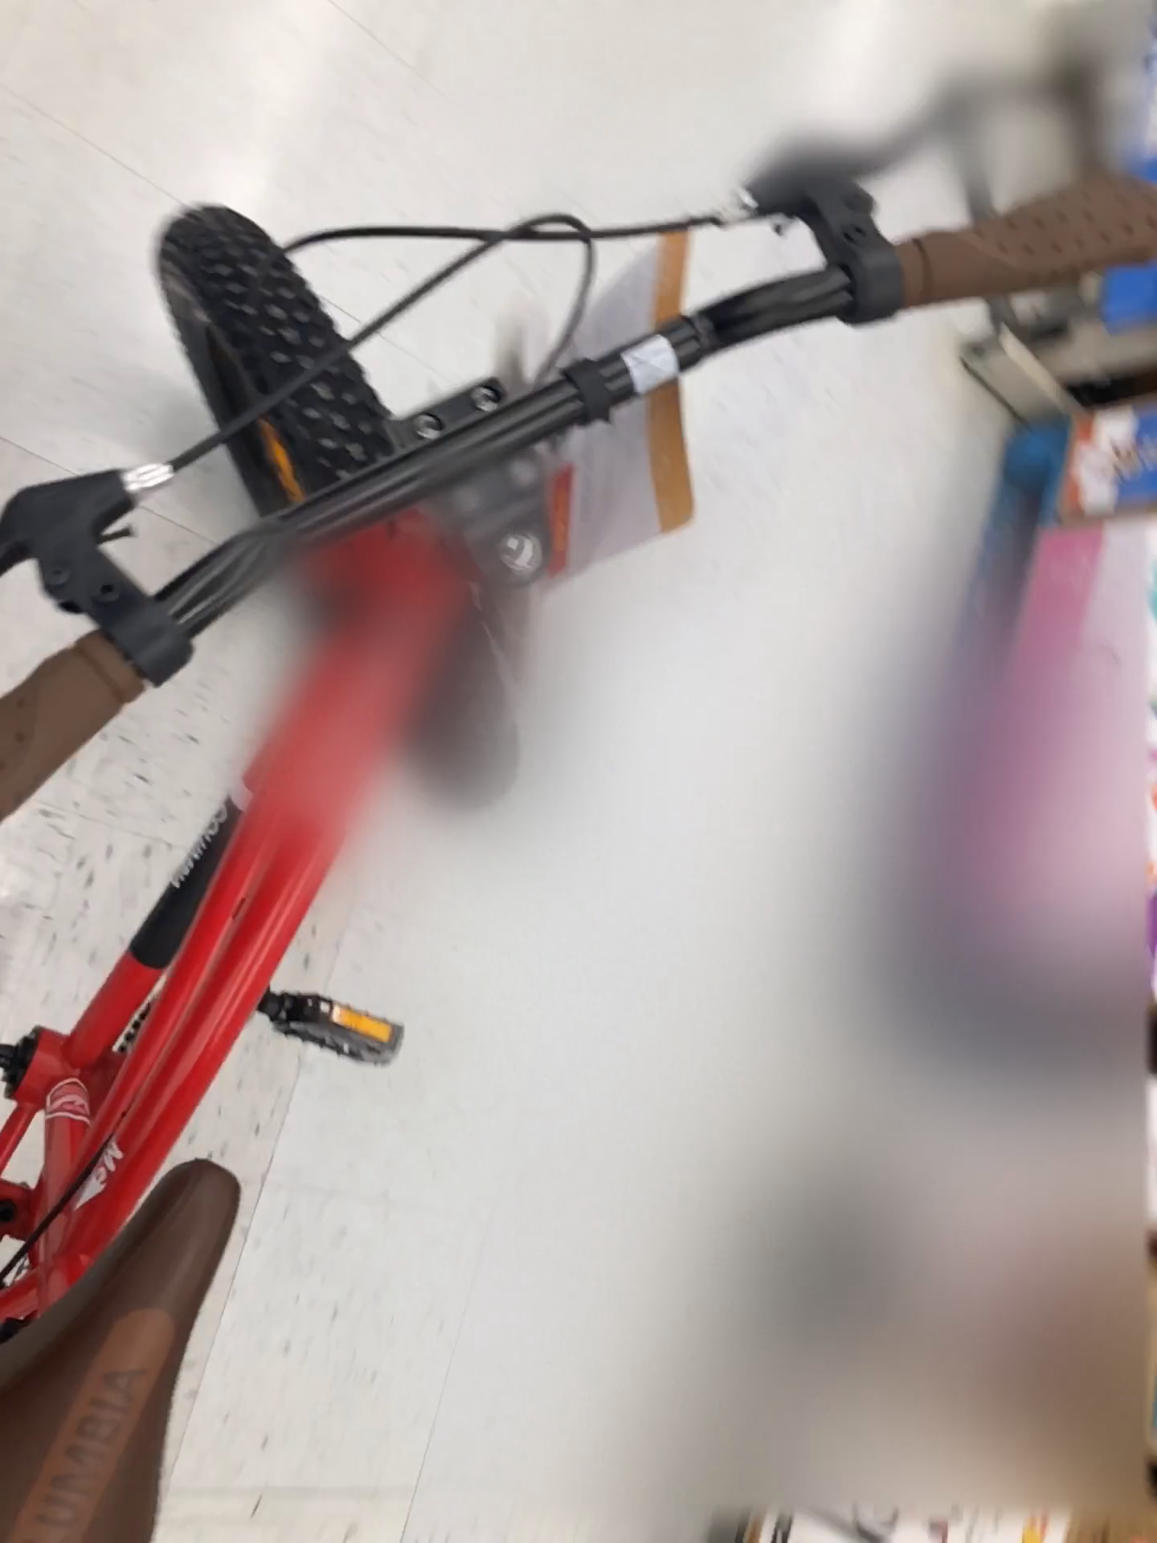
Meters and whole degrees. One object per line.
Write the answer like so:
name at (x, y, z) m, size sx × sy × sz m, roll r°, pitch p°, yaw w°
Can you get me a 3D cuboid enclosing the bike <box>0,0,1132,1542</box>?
bike at (-0.326, 0.204, 0.810) m, size 0.610 × 0.969 × 1.357 m, roll 24°, pitch 72°, yaw -36°
